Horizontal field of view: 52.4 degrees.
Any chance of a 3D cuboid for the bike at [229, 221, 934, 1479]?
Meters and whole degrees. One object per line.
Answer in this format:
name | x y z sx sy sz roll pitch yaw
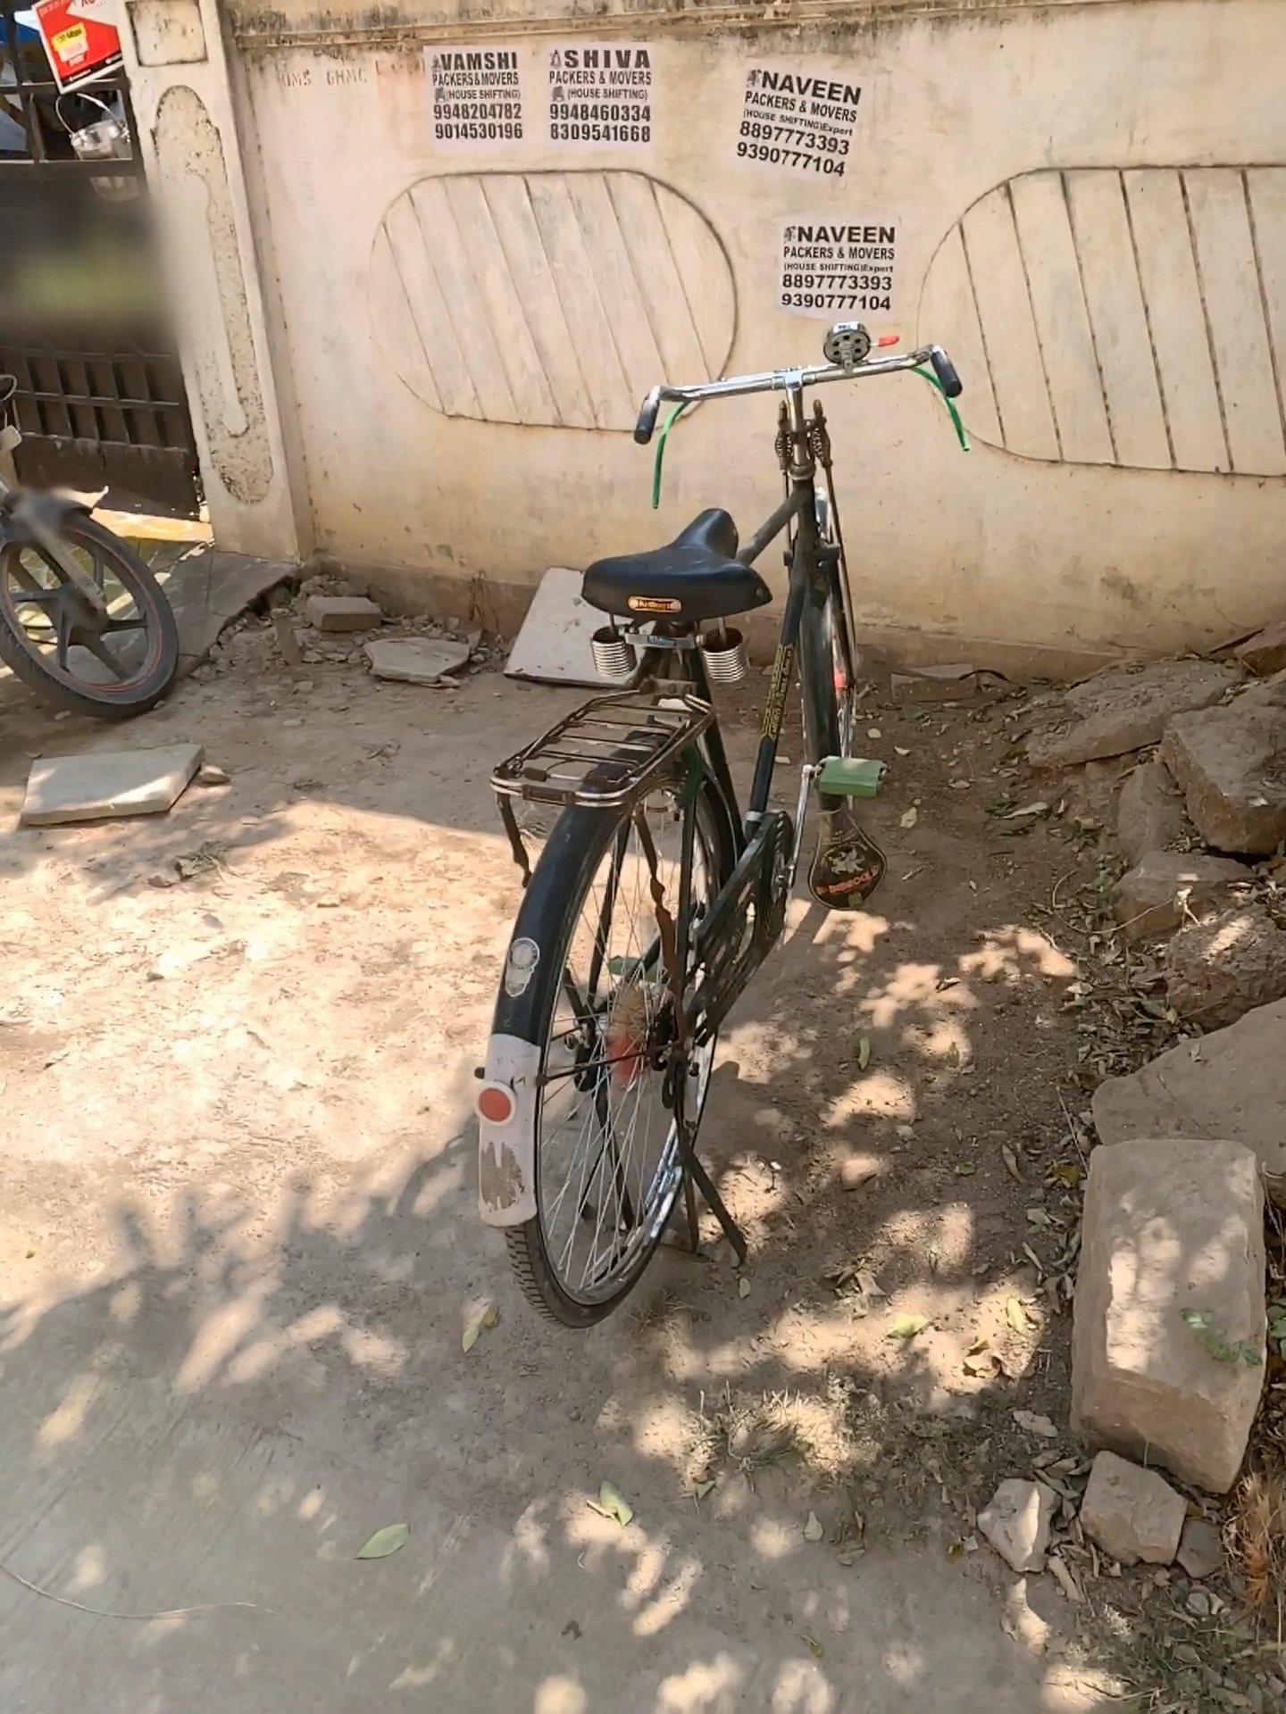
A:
bike | 0.088 -0.241 1.958 0.465 0.994 1.660 6 35 15
